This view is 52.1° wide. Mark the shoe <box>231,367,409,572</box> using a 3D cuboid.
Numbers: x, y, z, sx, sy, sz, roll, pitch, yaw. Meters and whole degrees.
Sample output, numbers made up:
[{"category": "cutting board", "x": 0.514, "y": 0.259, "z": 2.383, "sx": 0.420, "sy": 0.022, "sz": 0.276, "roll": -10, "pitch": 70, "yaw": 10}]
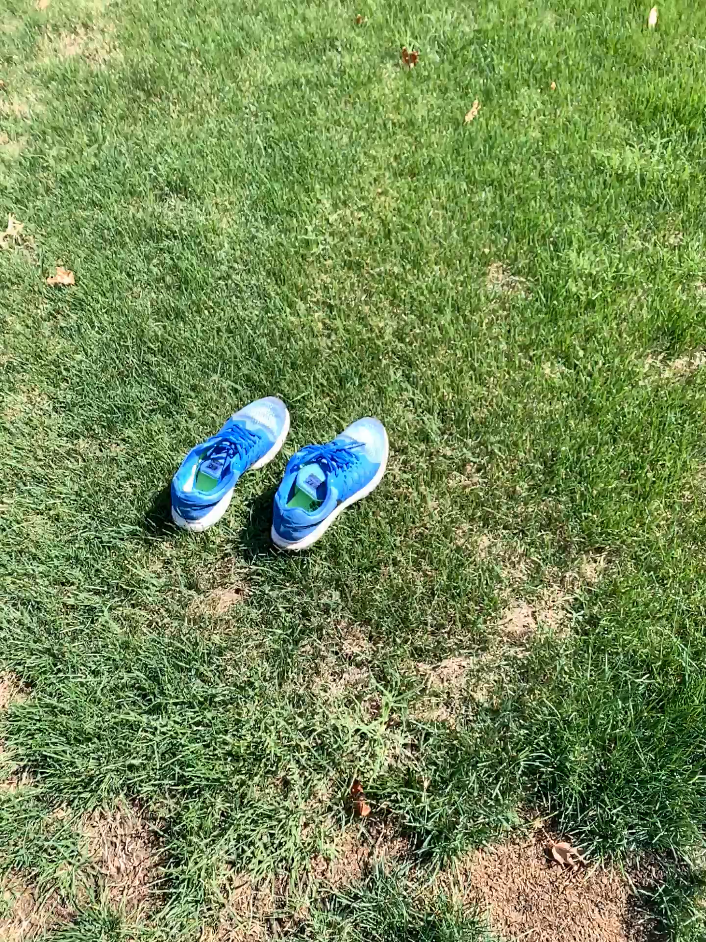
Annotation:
[{"category": "shoe", "x": -0.044, "y": -0.006, "z": 1.199, "sx": 0.130, "sy": 0.140, "sz": 0.290, "roll": 30, "pitch": 65, "yaw": 22}]

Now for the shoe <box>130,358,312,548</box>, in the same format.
[{"category": "shoe", "x": -0.213, "y": -0.034, "z": 1.226, "sx": 0.120, "sy": 0.120, "sz": 0.290, "roll": 30, "pitch": 65, "yaw": 23}]
